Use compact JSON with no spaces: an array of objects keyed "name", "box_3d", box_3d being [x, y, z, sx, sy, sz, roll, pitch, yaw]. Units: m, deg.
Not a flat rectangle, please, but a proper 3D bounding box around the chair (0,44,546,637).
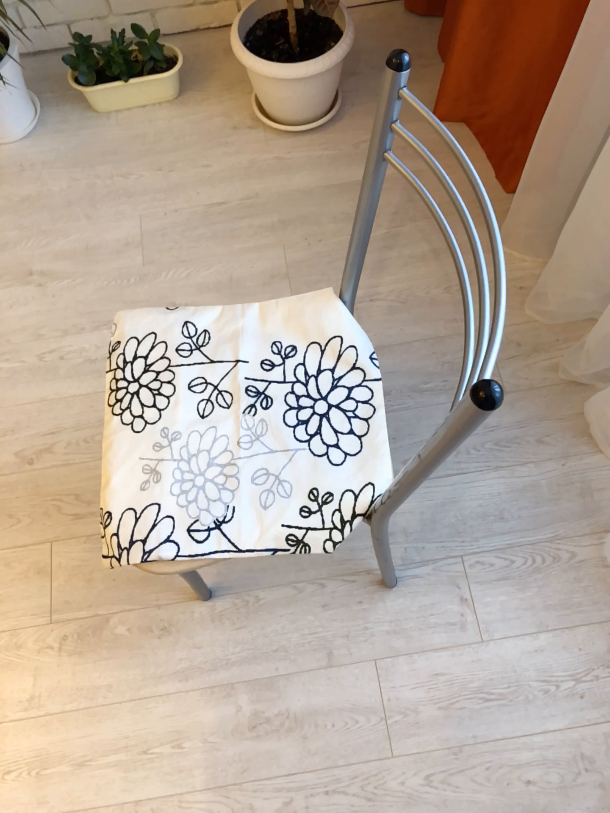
[{"name":"chair","box_3d":[-0.055,0.031,0.921,0.440,0.797,0.422,-8,66,-1]}]
